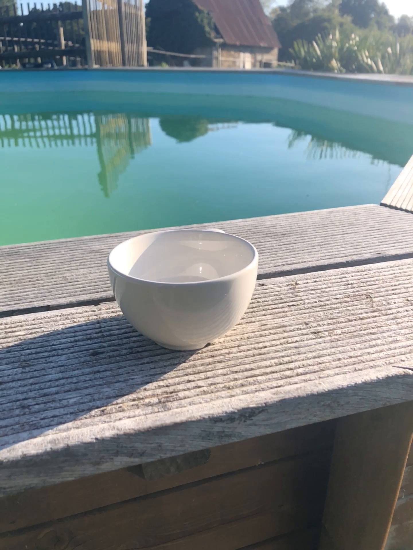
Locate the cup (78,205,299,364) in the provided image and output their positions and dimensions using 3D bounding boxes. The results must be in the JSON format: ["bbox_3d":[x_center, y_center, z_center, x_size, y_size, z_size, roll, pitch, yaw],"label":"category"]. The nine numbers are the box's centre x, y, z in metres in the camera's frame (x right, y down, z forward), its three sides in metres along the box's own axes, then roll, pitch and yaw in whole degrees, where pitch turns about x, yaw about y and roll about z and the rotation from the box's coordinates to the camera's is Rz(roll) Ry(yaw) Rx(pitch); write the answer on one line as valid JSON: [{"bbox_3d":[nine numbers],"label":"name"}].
[{"bbox_3d":[-0.002,-0.004,0.293,0.104,0.038,0.121,7,28,15],"label":"cup"}]
